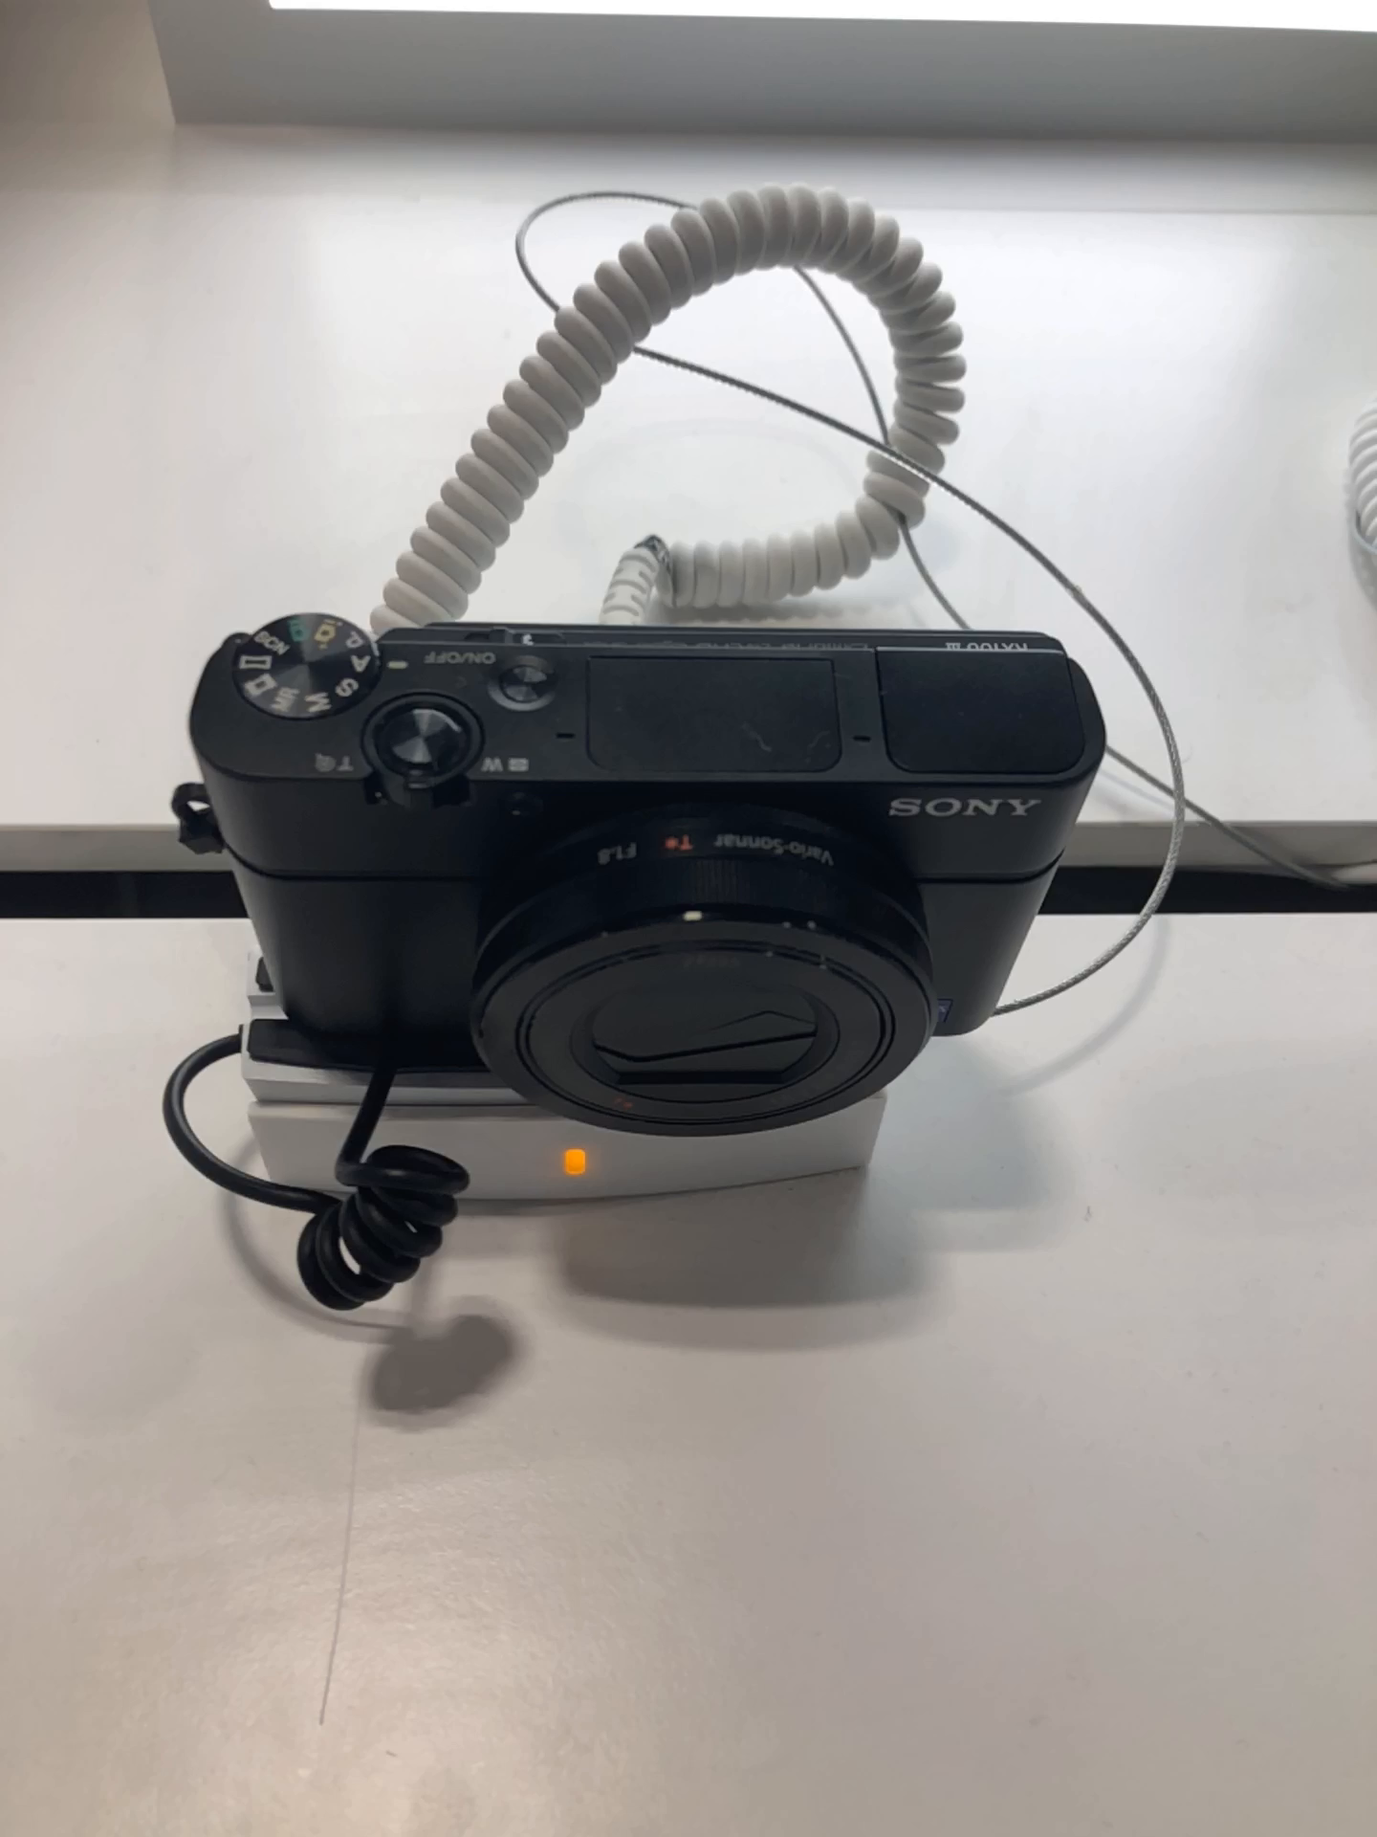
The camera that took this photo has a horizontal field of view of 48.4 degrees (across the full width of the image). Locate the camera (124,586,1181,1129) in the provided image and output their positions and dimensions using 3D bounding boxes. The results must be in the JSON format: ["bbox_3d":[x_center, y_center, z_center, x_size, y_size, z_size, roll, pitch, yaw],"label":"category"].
[{"bbox_3d":[-0.004,-0.004,0.196,0.110,0.070,0.030,1,53,-2],"label":"camera"}]
